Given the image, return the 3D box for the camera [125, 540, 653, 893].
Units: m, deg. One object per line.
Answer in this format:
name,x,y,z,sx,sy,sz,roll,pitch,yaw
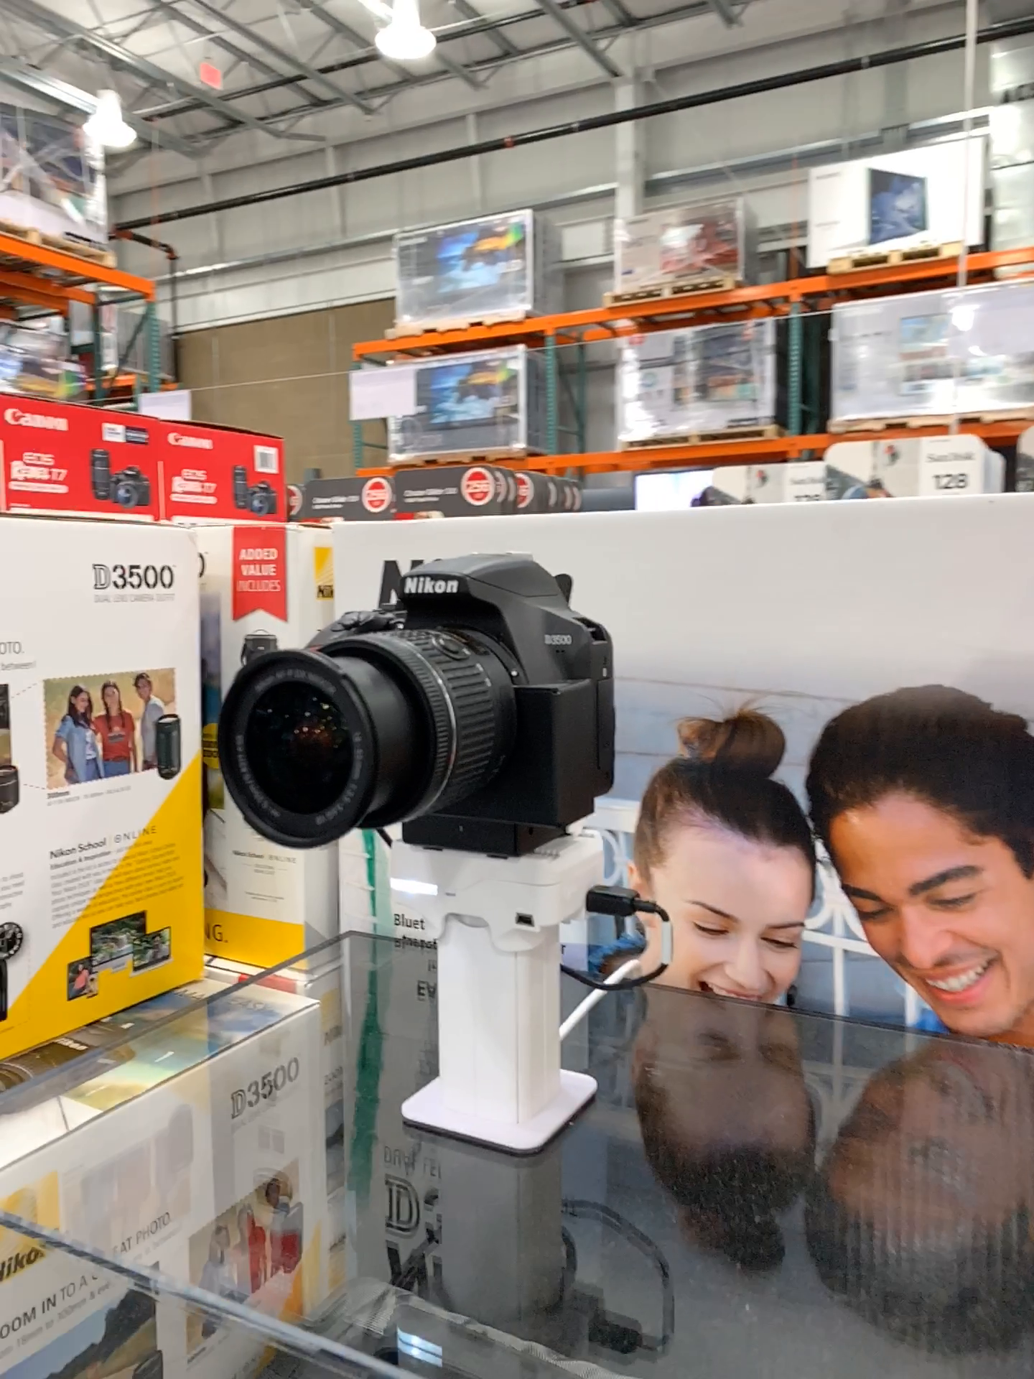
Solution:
camera,-0.039,-0.002,0.395,0.130,0.100,0.150,3,7,29
